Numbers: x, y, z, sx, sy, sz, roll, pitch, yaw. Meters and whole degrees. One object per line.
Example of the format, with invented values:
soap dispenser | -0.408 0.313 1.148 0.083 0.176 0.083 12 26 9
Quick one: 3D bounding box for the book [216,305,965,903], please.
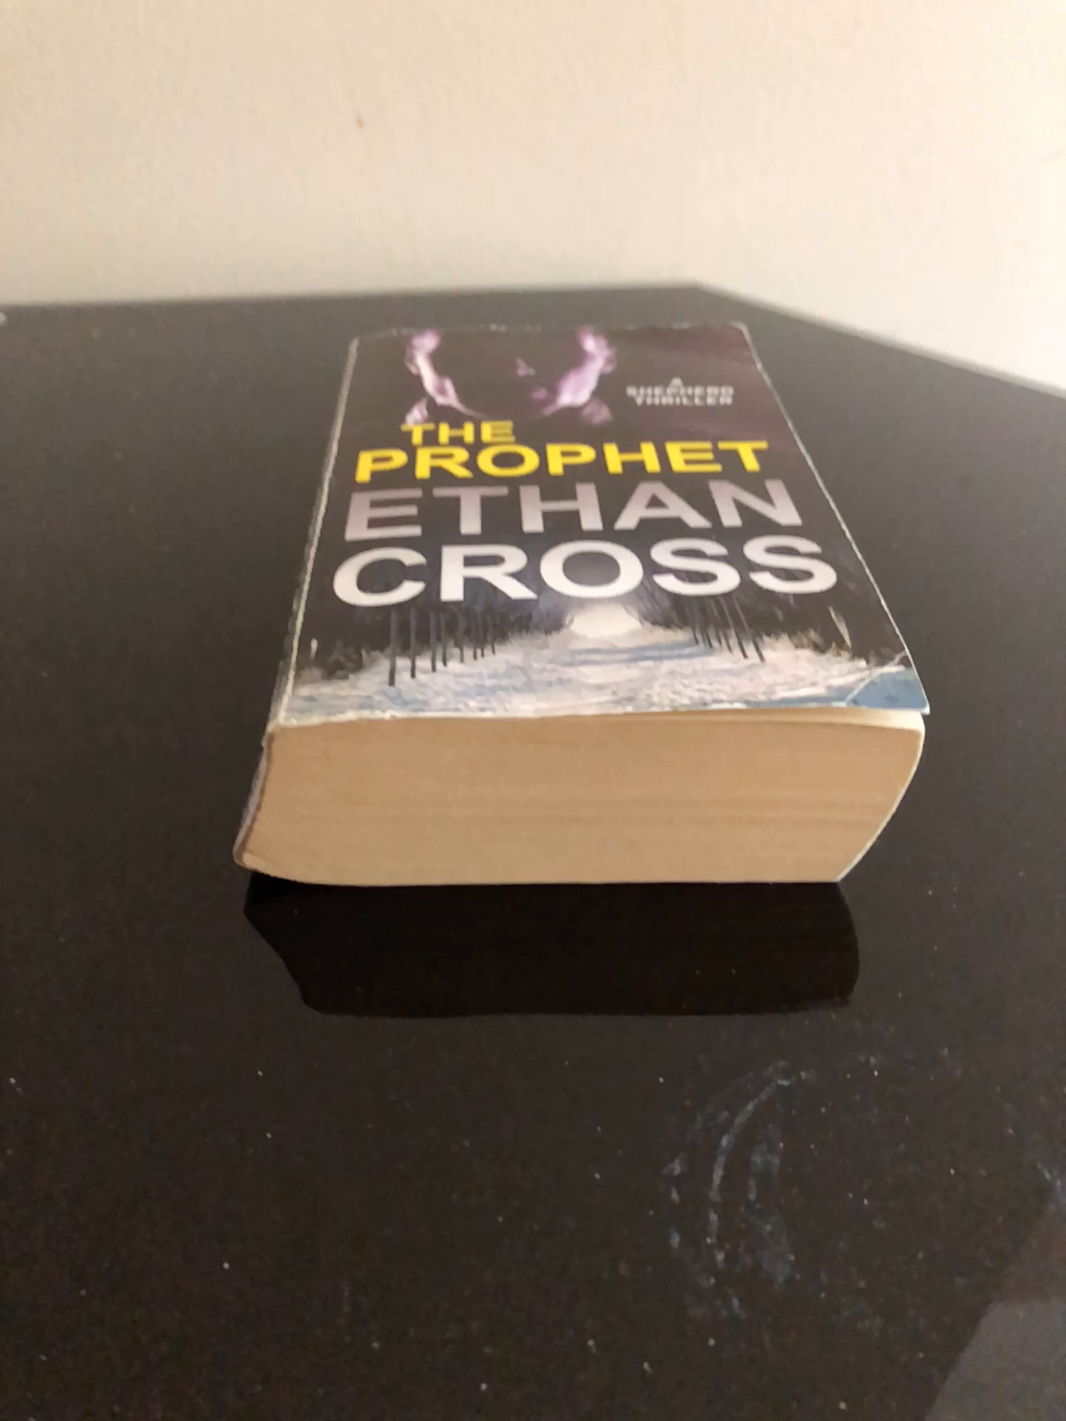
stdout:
book | 0.006 -0.039 0.267 0.115 0.040 0.180 -1 38 -2
